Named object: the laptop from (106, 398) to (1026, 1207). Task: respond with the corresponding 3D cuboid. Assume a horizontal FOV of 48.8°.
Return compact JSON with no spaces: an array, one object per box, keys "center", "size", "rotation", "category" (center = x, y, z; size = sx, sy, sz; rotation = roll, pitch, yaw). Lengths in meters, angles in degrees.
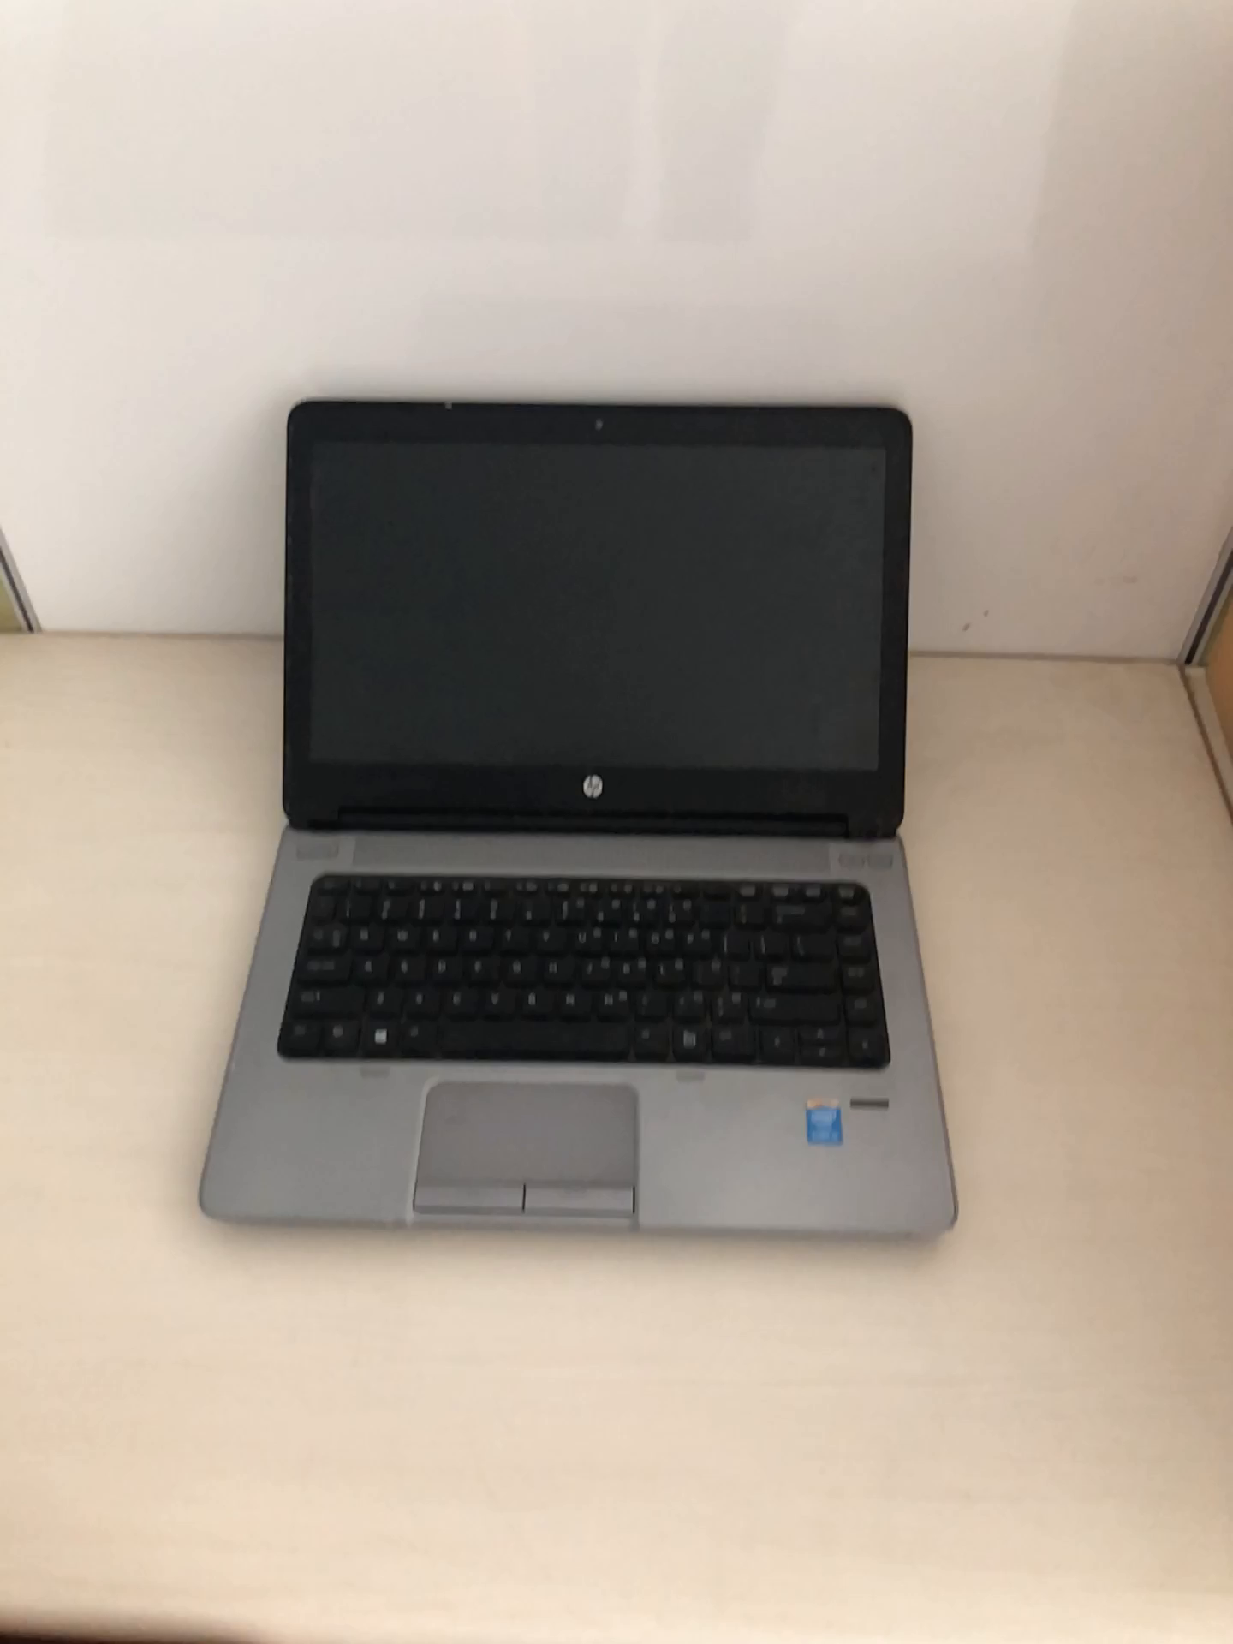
[{"center":[-0.015,-0.031,0.654],"size":[0.322,0.148,0.380],"rotation":[1,49,1],"category":"laptop"}]
